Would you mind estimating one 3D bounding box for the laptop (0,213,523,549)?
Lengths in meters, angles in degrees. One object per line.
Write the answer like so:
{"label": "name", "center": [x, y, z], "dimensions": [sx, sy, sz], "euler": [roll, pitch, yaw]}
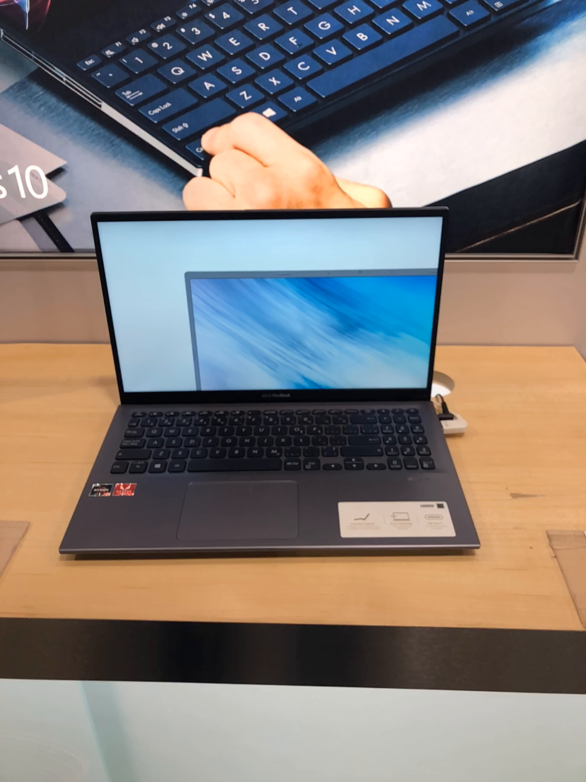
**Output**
{"label": "laptop", "center": [-0.021, -0.021, 0.588], "dimensions": [0.349, 0.211, 0.243], "euler": [0, 31, 1]}
